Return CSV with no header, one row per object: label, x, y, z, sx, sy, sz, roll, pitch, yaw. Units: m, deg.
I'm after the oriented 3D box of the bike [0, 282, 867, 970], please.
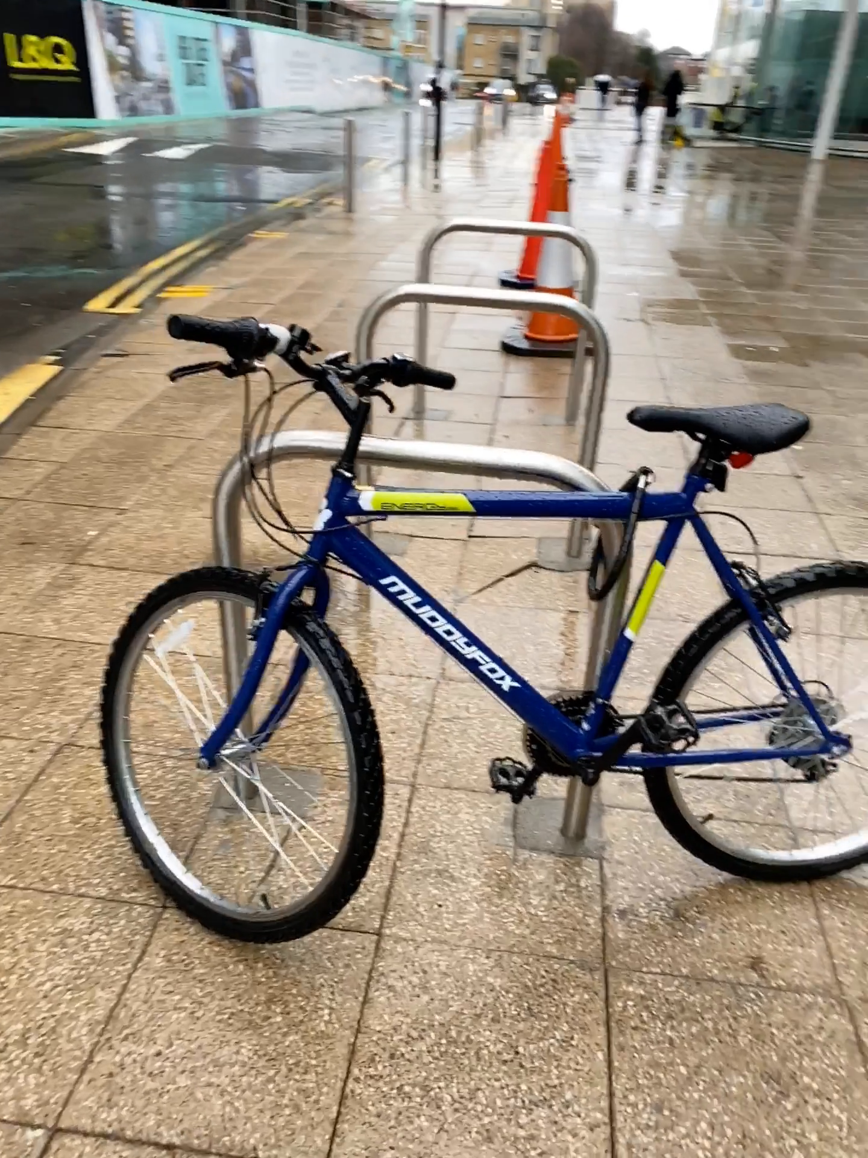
bike,0.194,0.071,1.545,1.592,1.012,0.601,1,29,1
